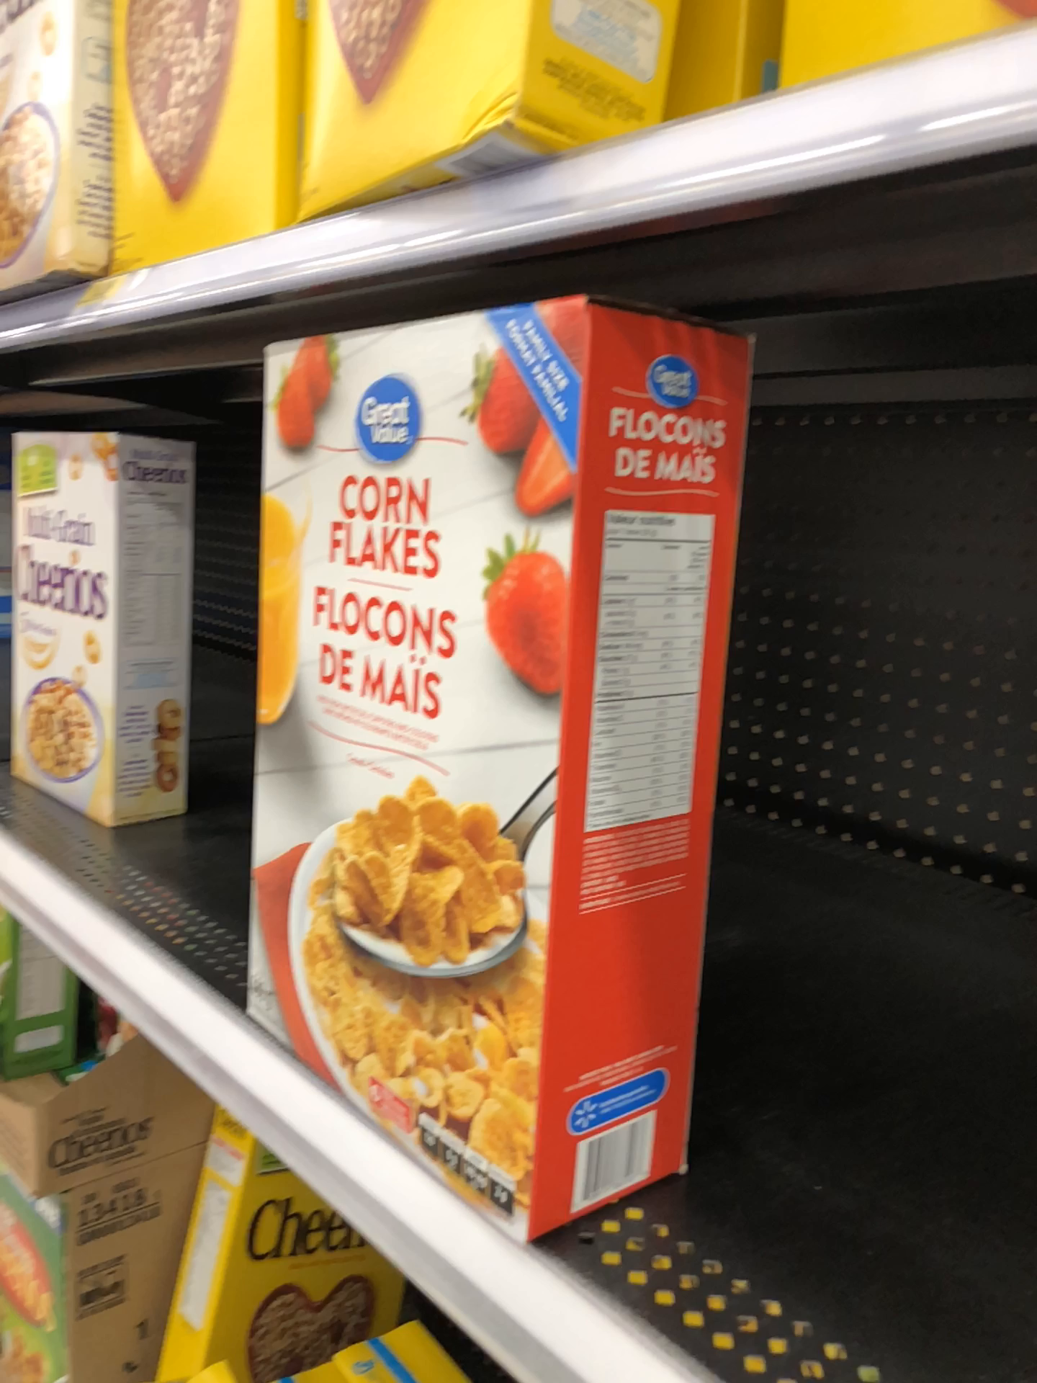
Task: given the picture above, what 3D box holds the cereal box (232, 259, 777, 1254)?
[{"bbox_3d":[-0.027,0.009,0.489,0.090,0.329,0.241,-4,12,-39],"label":"cereal box"}]
